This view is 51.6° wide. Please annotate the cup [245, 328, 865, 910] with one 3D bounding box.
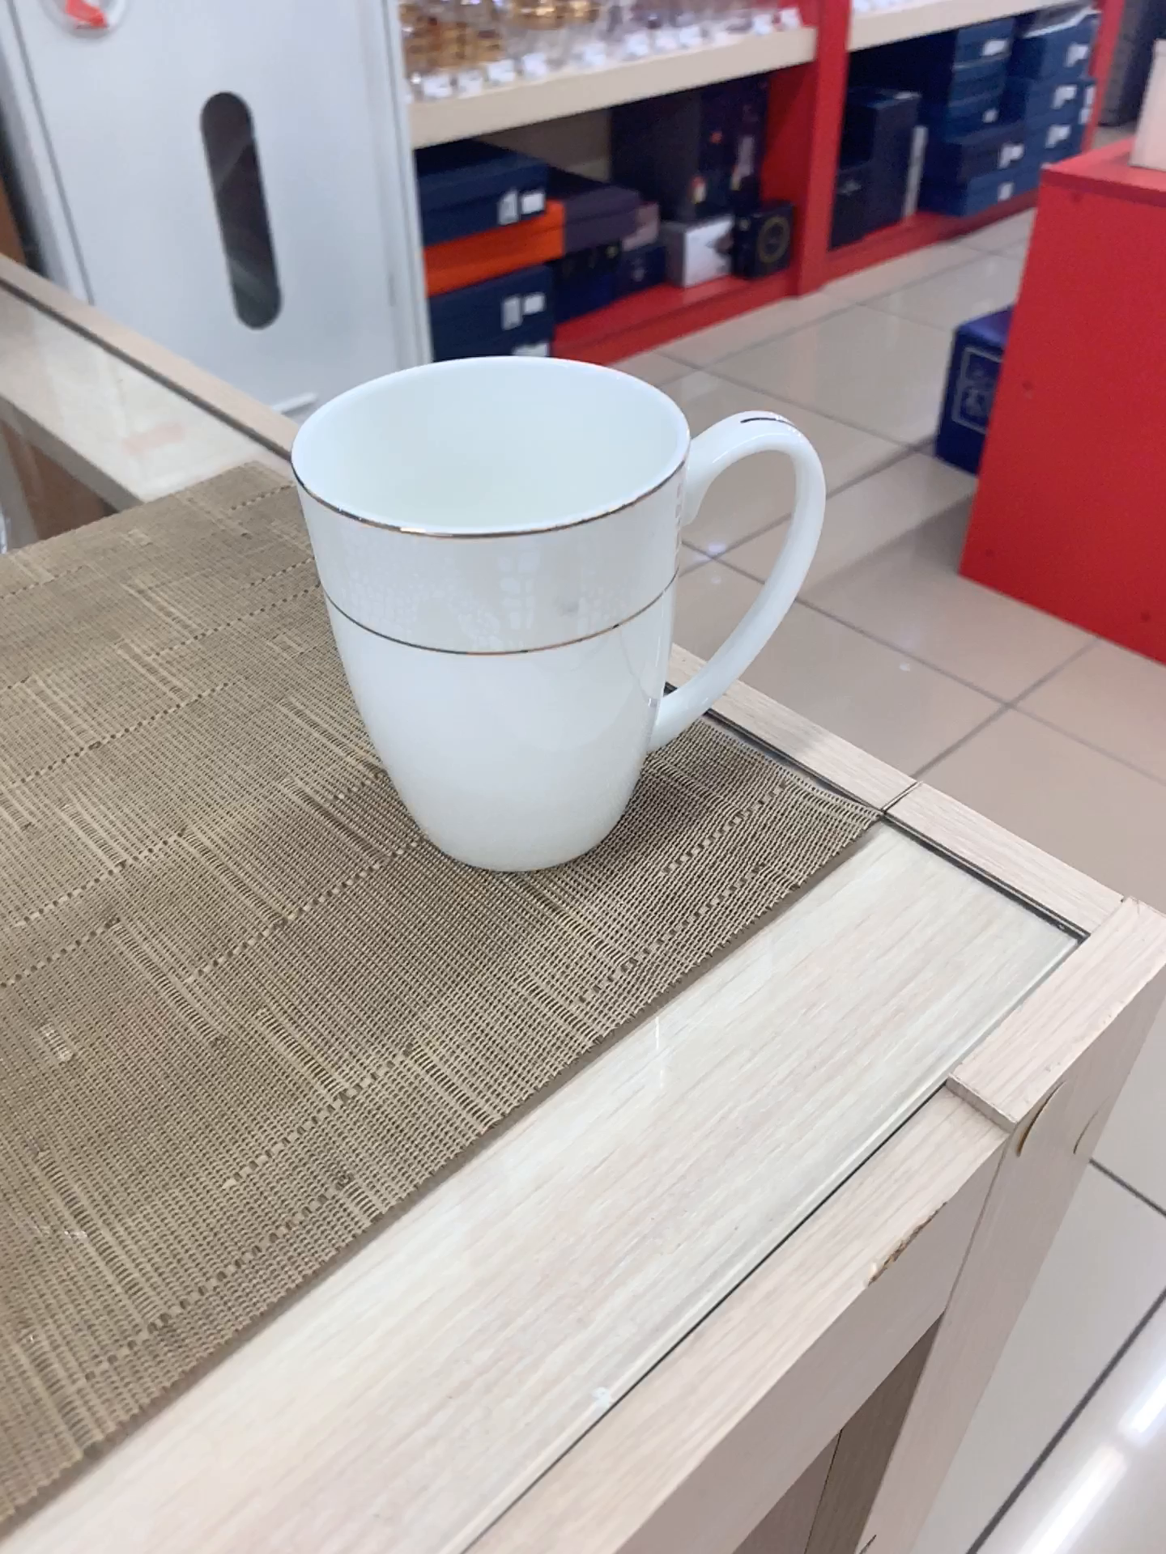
[{"bbox_3d":[-0.010,-0.041,0.298,0.120,0.100,0.090,-6,40,-6],"label":"cup"}]
